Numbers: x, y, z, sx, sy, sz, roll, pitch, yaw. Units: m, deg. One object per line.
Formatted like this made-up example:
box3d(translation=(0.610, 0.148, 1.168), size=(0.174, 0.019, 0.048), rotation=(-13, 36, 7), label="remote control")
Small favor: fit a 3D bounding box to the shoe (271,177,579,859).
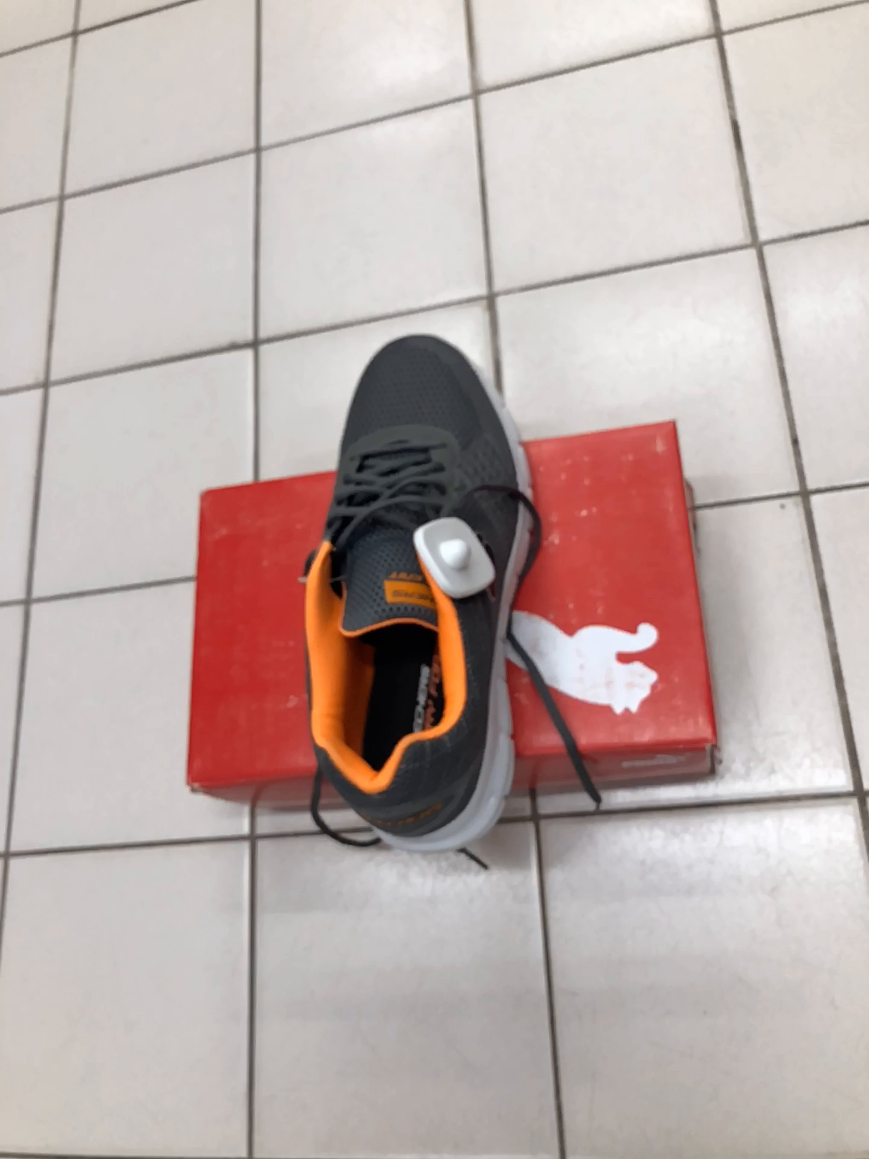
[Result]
box3d(translation=(-0.002, -0.022, 0.500), size=(0.110, 0.140, 0.311), rotation=(-7, 71, 13), label="shoe")
